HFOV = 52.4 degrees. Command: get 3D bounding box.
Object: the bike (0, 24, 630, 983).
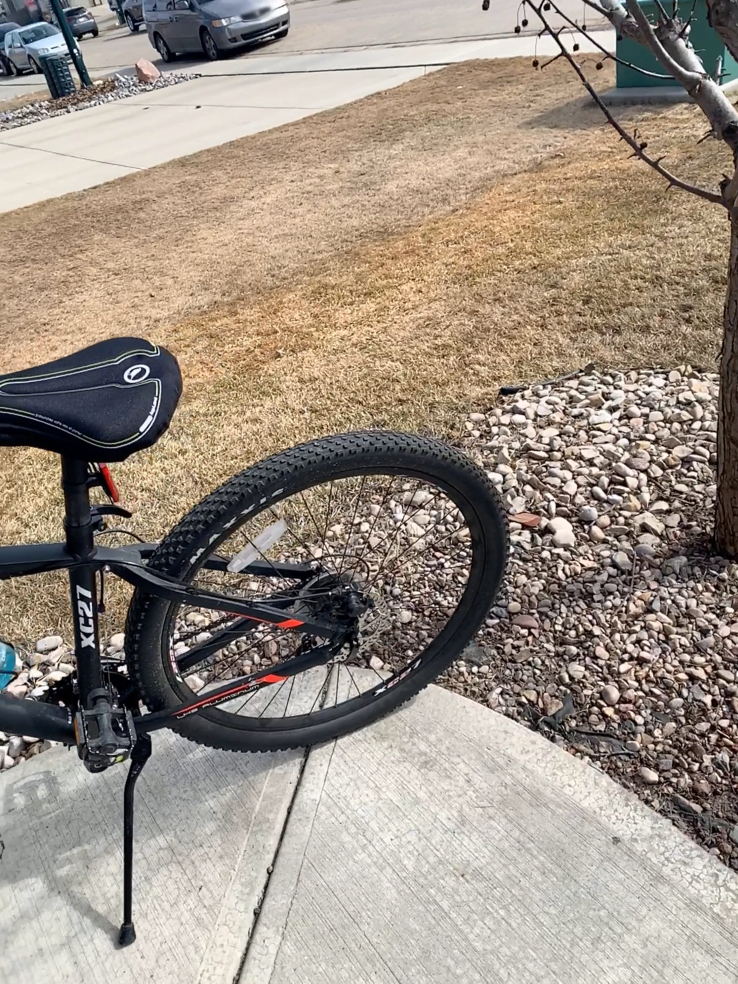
[{"bbox_3d":[-0.449,0.278,0.894,1.481,1.004,0.602,-29,38,-14],"label":"bike"}]
